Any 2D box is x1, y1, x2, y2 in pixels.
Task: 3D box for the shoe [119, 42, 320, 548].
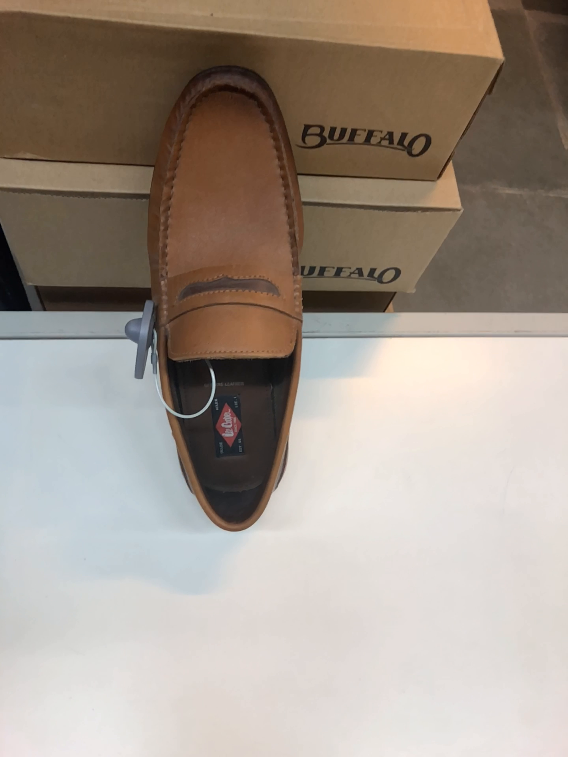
[{"bbox_3d":[-0.040,-0.047,0.416,0.103,0.103,0.293,-1,108,-7],"label":"shoe"}]
